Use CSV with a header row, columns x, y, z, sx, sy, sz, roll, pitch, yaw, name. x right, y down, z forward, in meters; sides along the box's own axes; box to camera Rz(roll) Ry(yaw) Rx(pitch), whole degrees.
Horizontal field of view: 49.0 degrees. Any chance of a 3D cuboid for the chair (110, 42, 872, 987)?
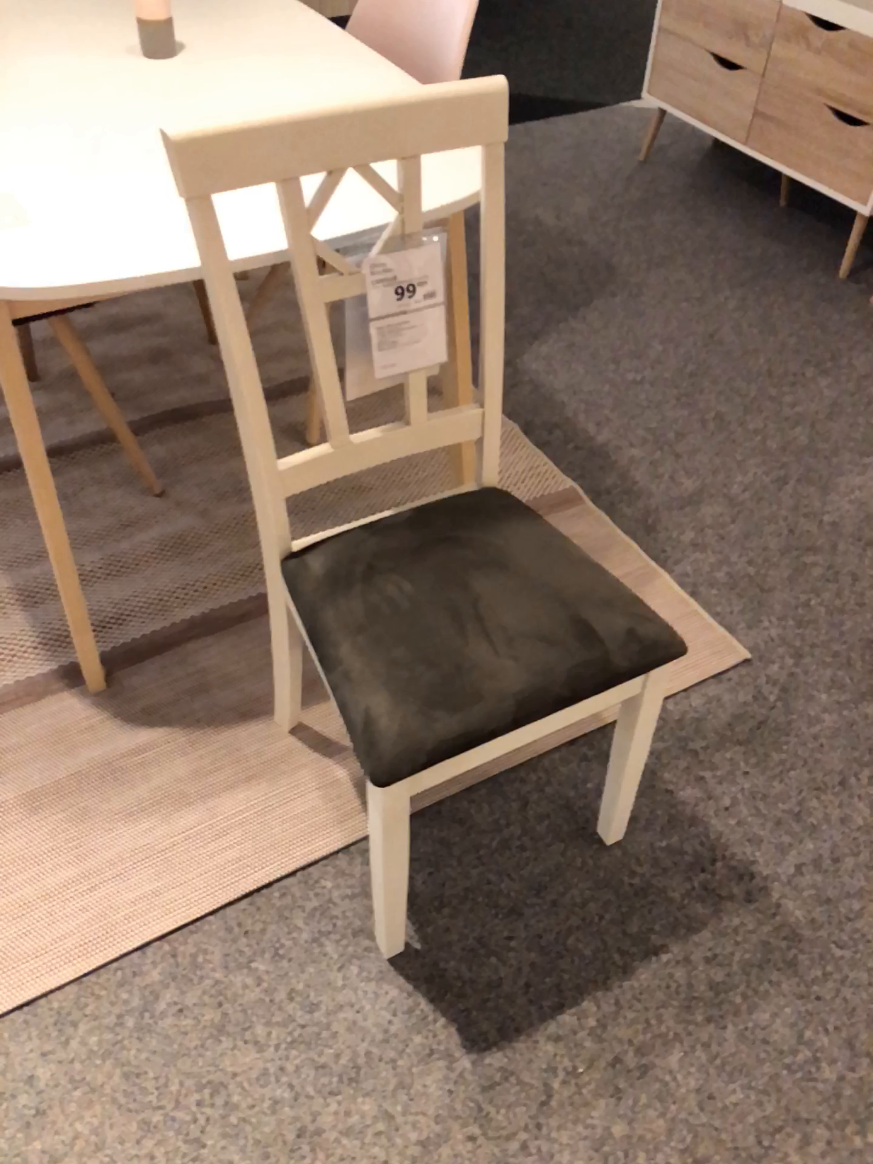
x,y,z,sx,sy,sz,roll,pitch,yaw,name
0.029,-0.063,1.144,0.512,0.855,0.561,-20,49,-21,chair
